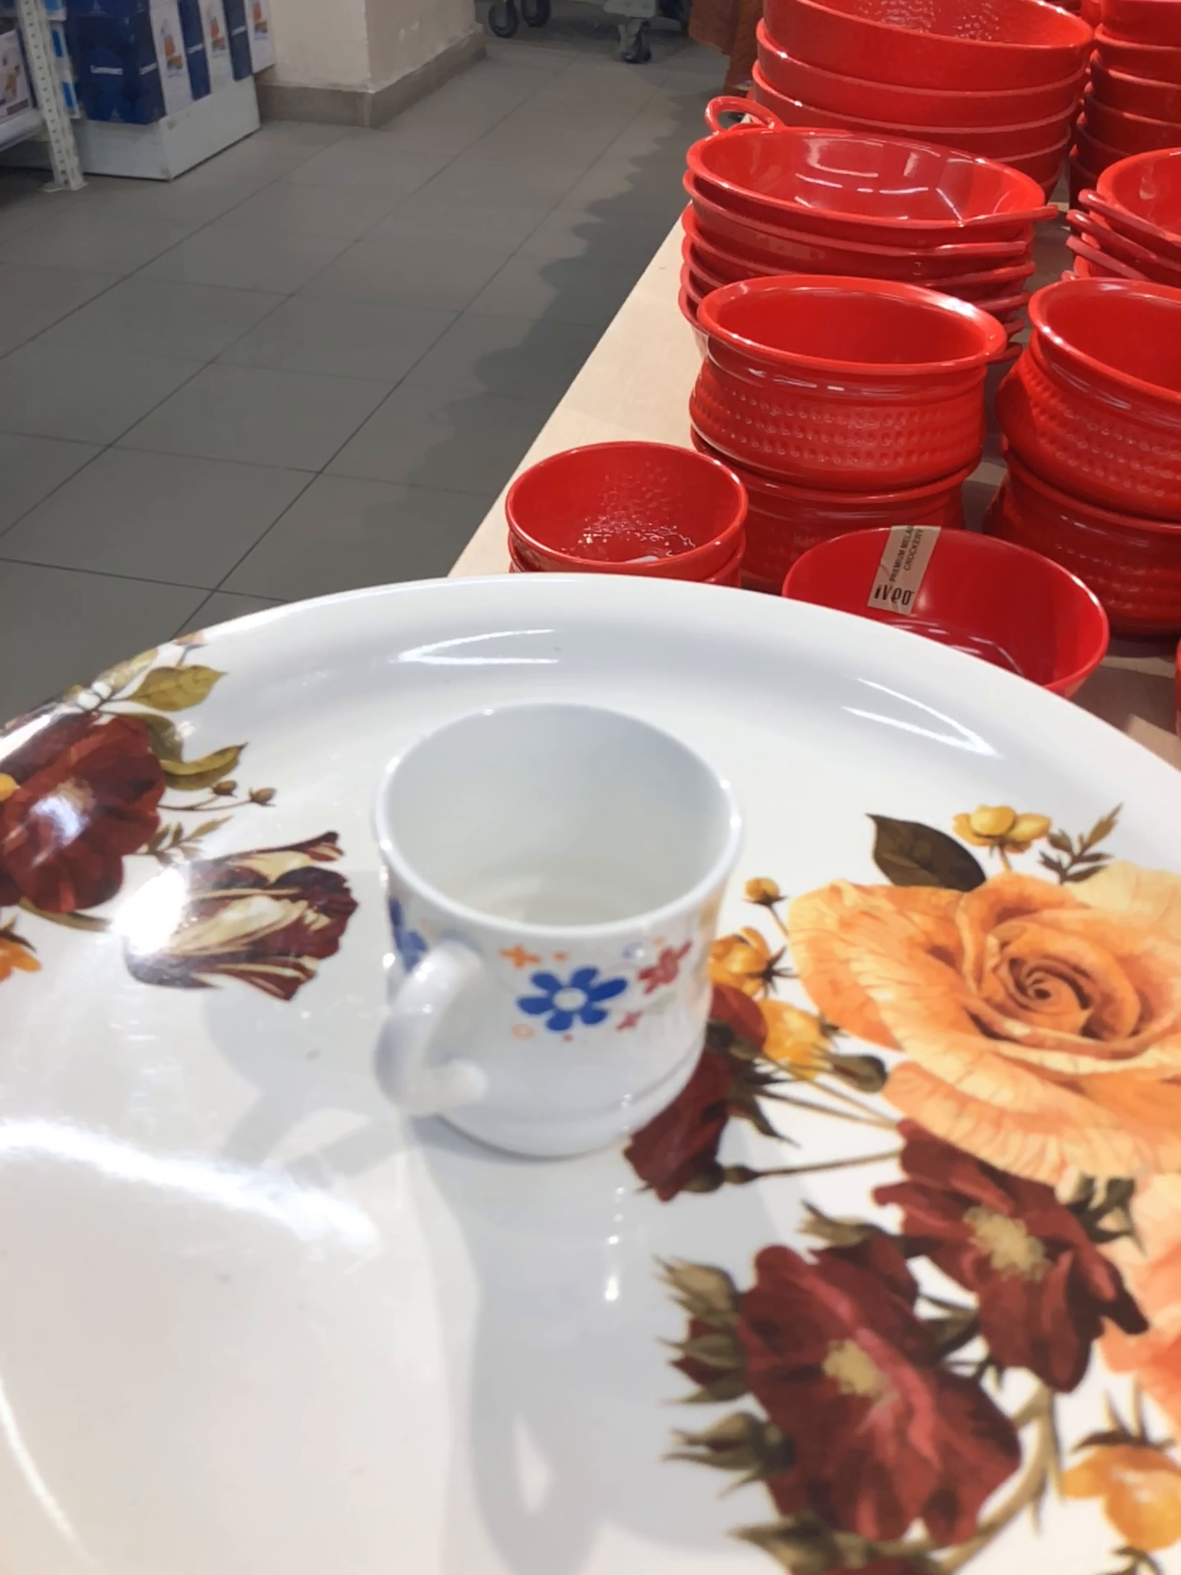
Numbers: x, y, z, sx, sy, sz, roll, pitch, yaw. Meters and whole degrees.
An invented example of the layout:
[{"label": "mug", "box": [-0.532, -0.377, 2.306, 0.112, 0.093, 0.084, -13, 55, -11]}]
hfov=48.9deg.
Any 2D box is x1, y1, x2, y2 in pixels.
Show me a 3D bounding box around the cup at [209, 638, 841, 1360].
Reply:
[{"label": "cup", "box": [-0.007, 0.033, 0.239, 0.070, 0.070, 0.091, 19, 42, 20]}]
